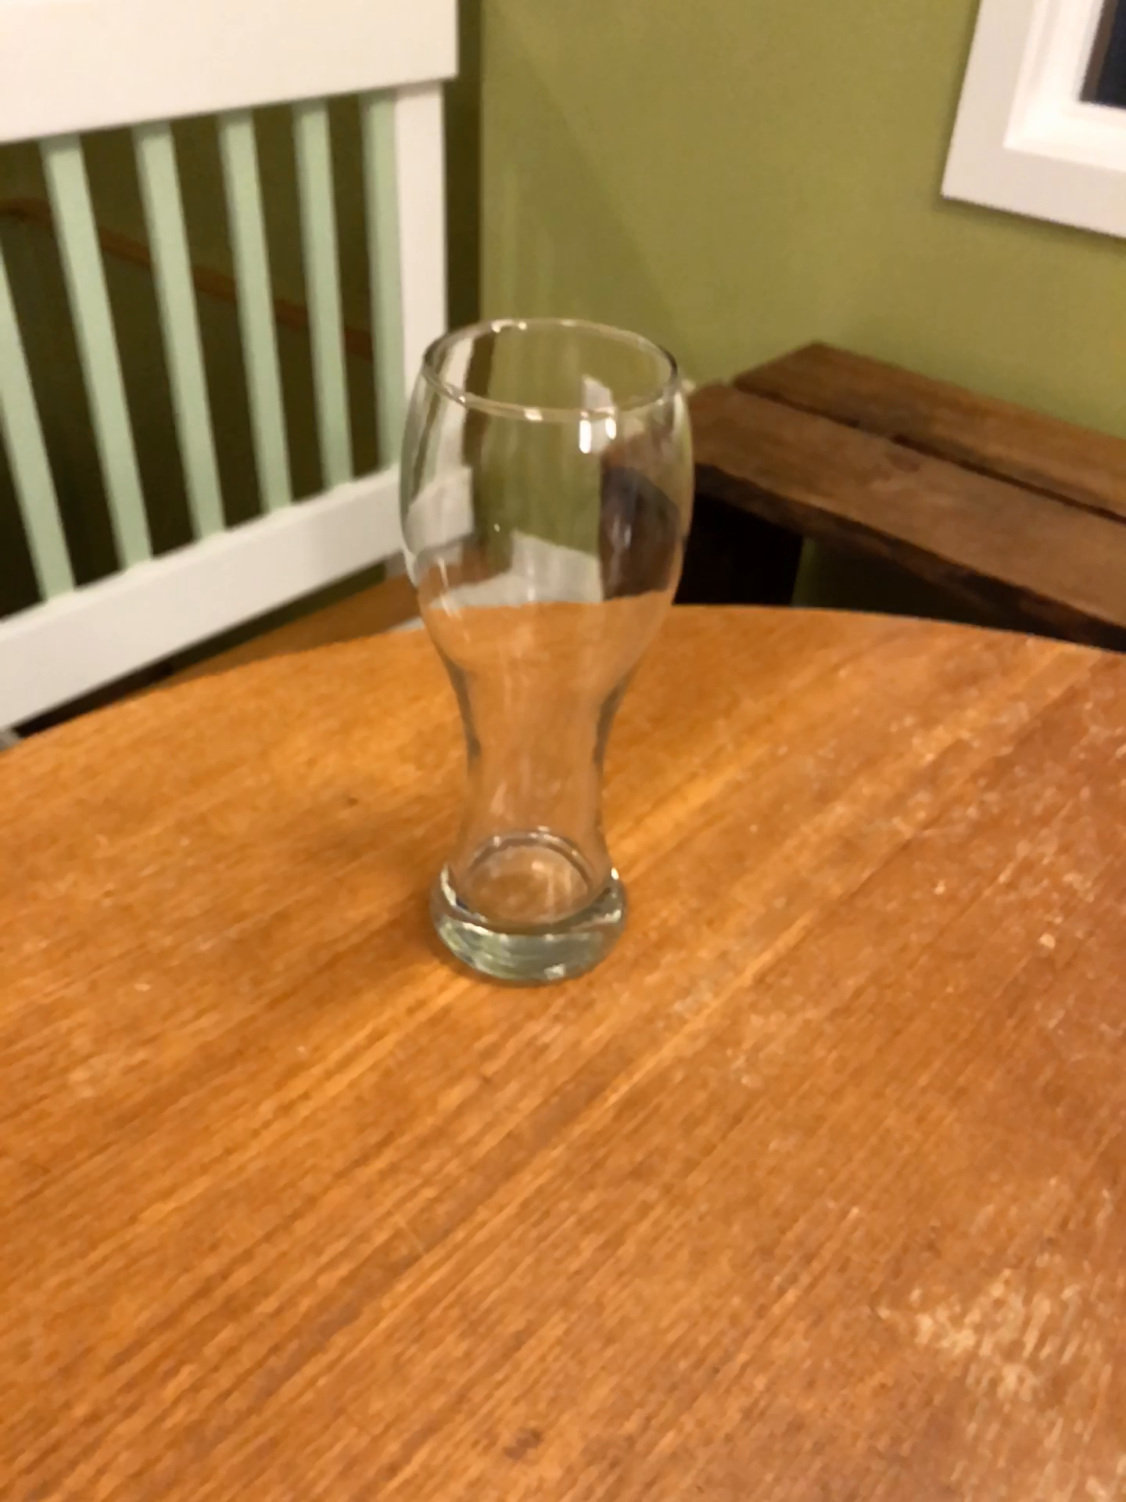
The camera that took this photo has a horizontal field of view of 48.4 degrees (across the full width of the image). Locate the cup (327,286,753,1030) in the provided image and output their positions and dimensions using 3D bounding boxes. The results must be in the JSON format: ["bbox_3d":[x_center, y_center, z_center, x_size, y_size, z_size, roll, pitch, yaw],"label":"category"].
[{"bbox_3d":[-0.009,-0.026,0.429,0.093,0.222,0.088,2,37,-1],"label":"cup"}]
